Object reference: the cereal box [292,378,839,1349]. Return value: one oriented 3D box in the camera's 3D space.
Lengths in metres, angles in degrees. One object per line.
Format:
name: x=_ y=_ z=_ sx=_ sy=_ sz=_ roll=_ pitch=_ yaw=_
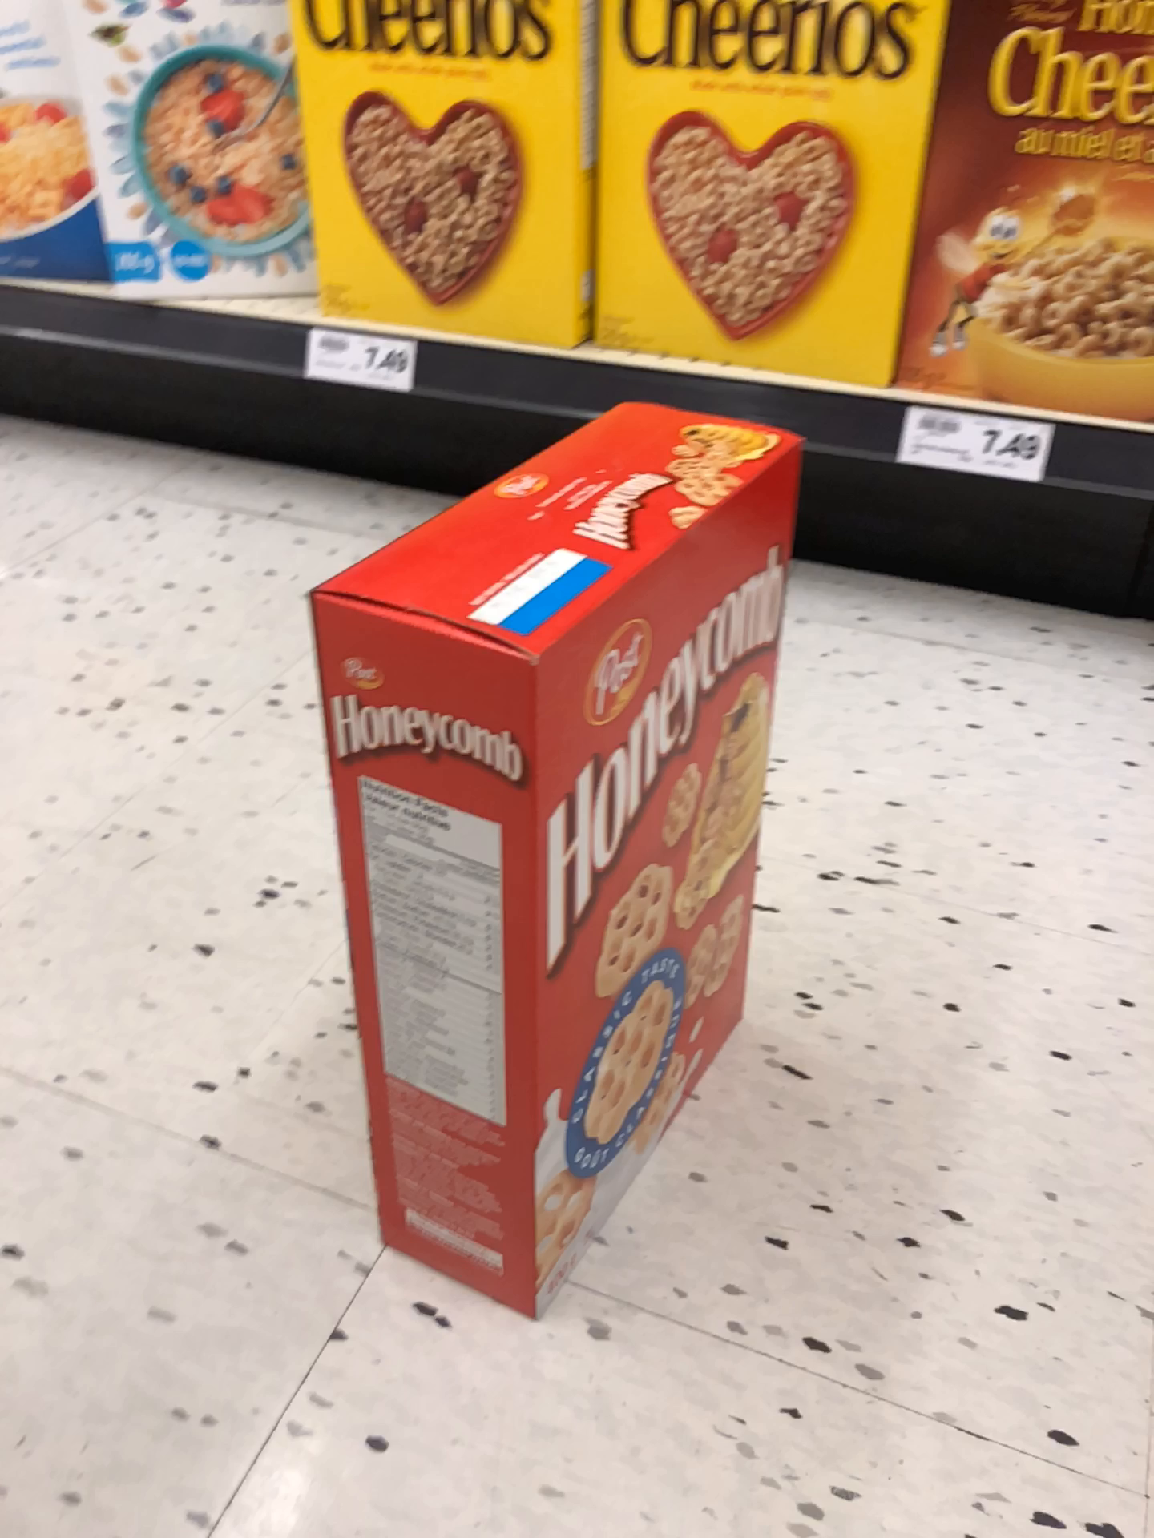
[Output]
cereal box: x=0.006 y=0.034 z=0.480 sx=0.080 sy=0.298 sz=0.201 roll=19 pitch=38 yaw=24
